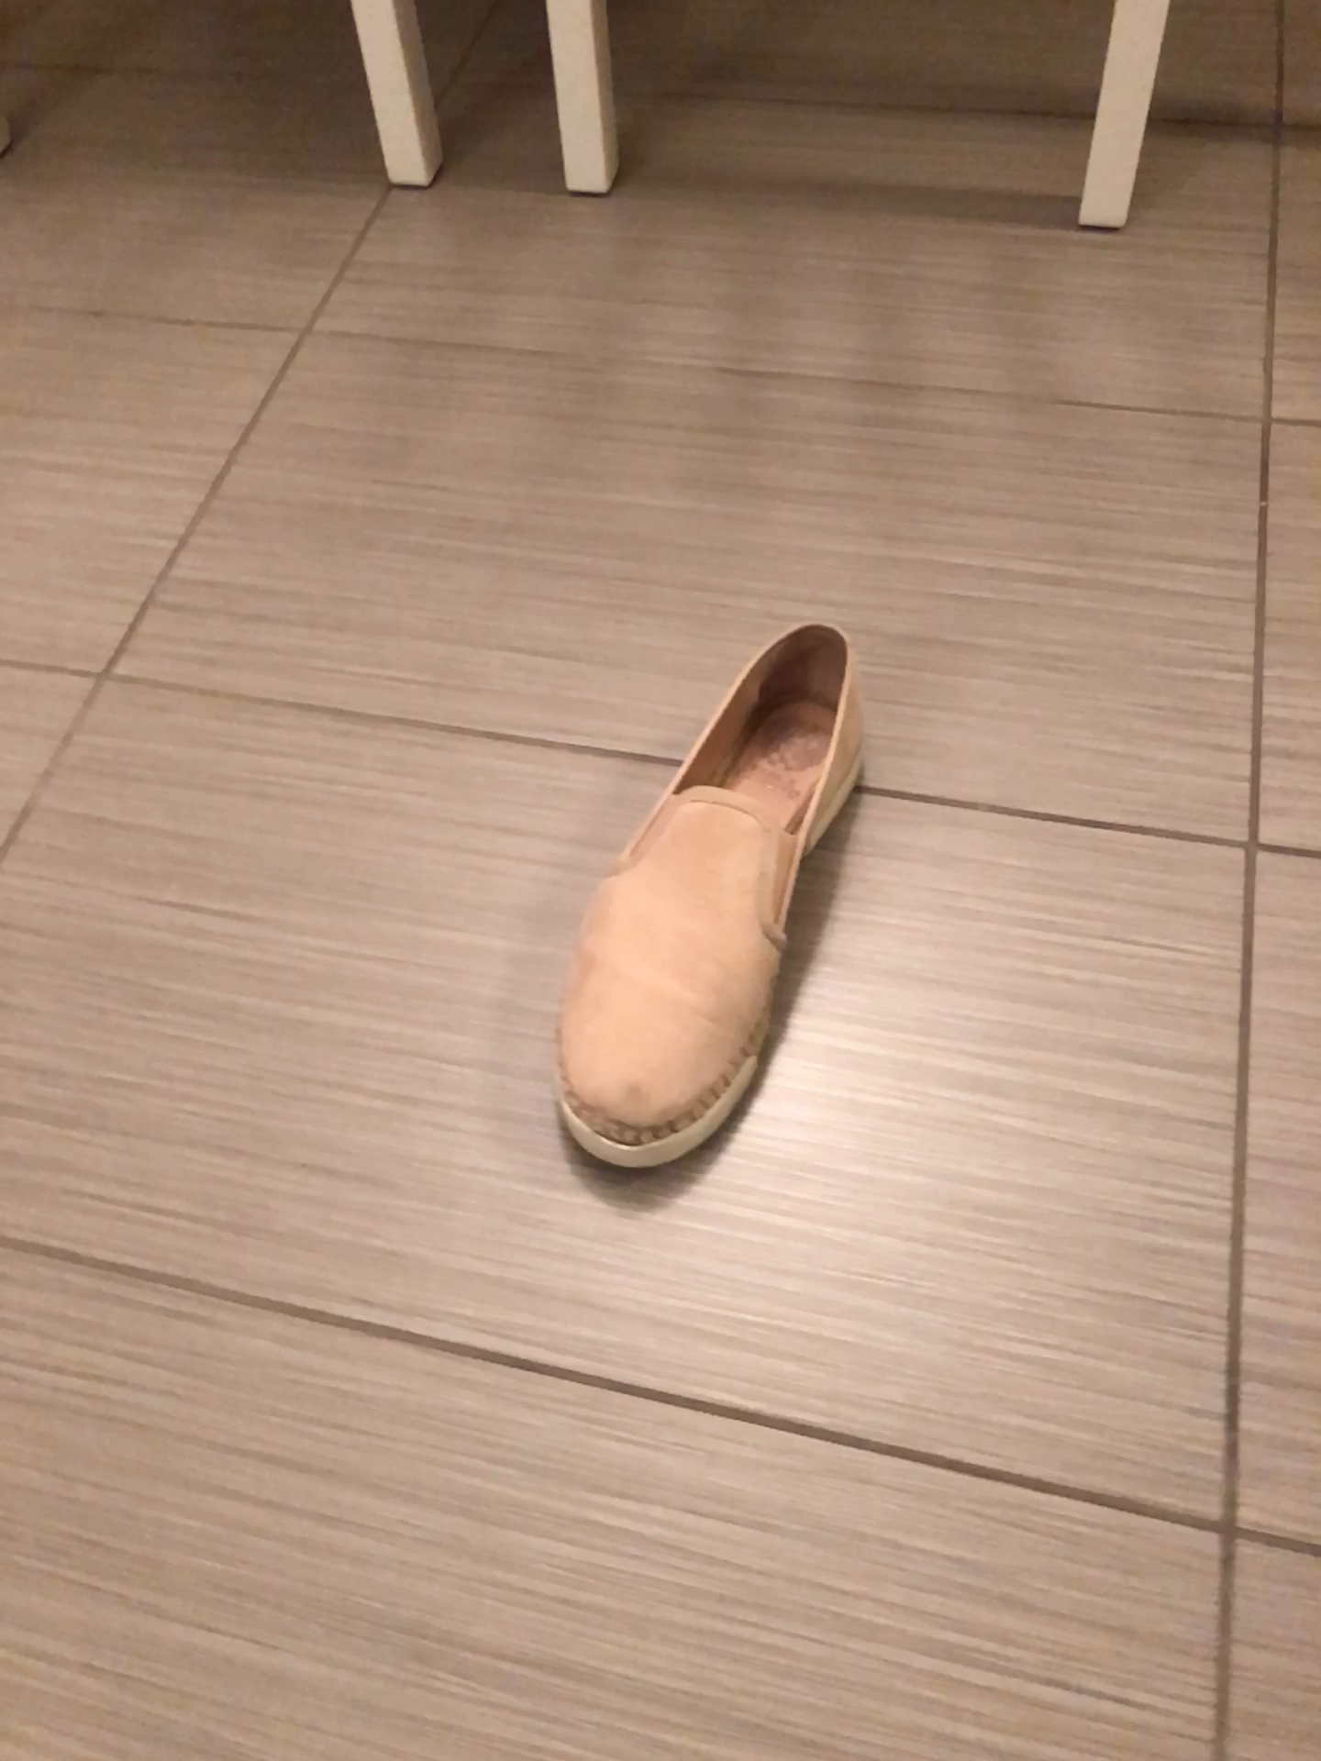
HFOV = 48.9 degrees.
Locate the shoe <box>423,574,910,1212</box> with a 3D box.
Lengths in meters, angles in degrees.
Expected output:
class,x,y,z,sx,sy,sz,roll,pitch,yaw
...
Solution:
class,x,y,z,sx,sy,sz,roll,pitch,yaw
shoe,0.014,-0.006,0.643,0.110,0.070,0.271,17,59,17
